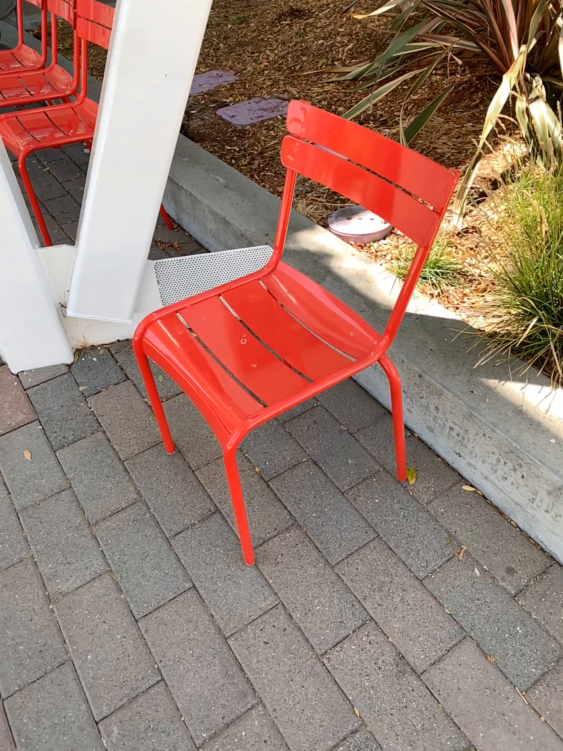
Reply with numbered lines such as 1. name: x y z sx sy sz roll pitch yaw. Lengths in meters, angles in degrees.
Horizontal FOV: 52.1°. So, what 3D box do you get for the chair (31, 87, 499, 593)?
1. chair: -0.040 -0.098 1.306 0.630 0.785 0.583 -26 48 -24
